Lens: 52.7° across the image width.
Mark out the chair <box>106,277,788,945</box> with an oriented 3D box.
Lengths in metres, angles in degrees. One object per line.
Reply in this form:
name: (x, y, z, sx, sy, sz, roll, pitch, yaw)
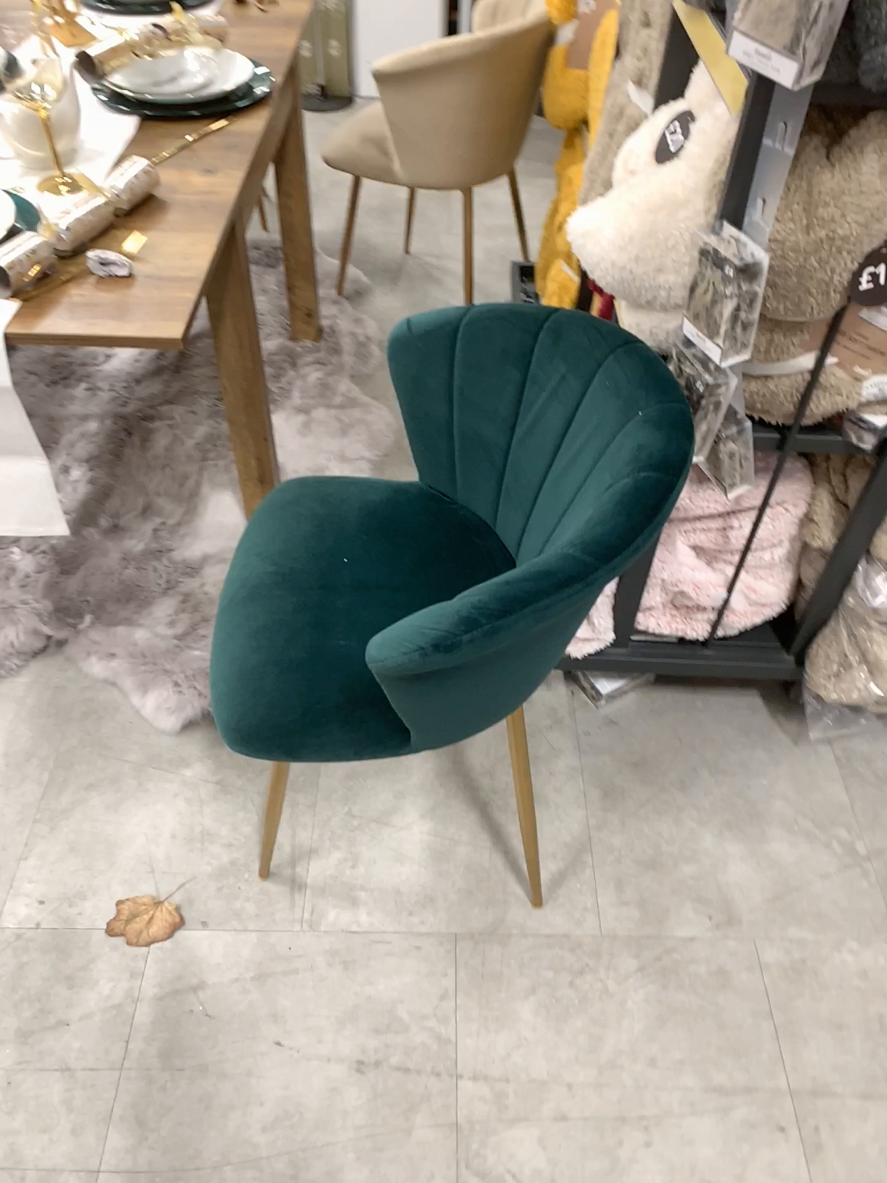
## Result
chair: (0.001, 0.050, 1.189, 0.569, 0.692, 0.552, 1, 47, 0)
